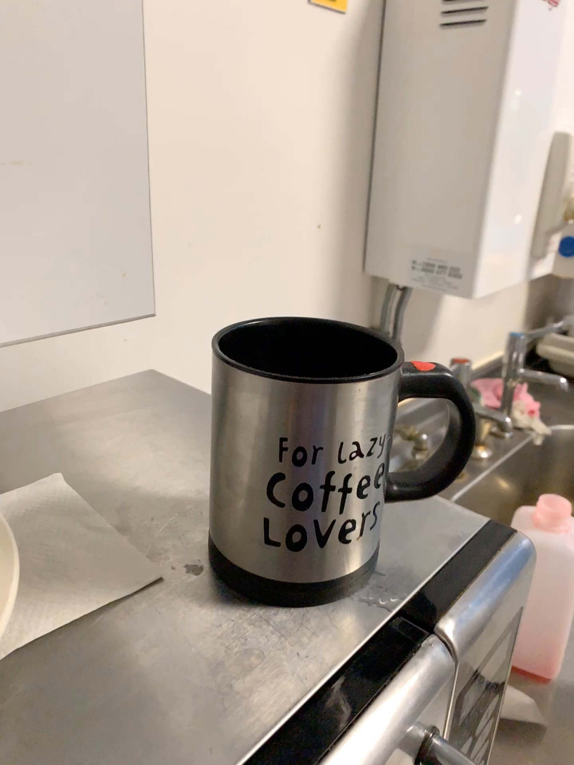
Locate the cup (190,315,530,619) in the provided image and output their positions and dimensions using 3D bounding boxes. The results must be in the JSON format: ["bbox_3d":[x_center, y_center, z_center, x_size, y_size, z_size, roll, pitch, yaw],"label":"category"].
[{"bbox_3d":[0.022,0.033,0.290,0.133,0.108,0.096,-1,21,-8],"label":"cup"}]
